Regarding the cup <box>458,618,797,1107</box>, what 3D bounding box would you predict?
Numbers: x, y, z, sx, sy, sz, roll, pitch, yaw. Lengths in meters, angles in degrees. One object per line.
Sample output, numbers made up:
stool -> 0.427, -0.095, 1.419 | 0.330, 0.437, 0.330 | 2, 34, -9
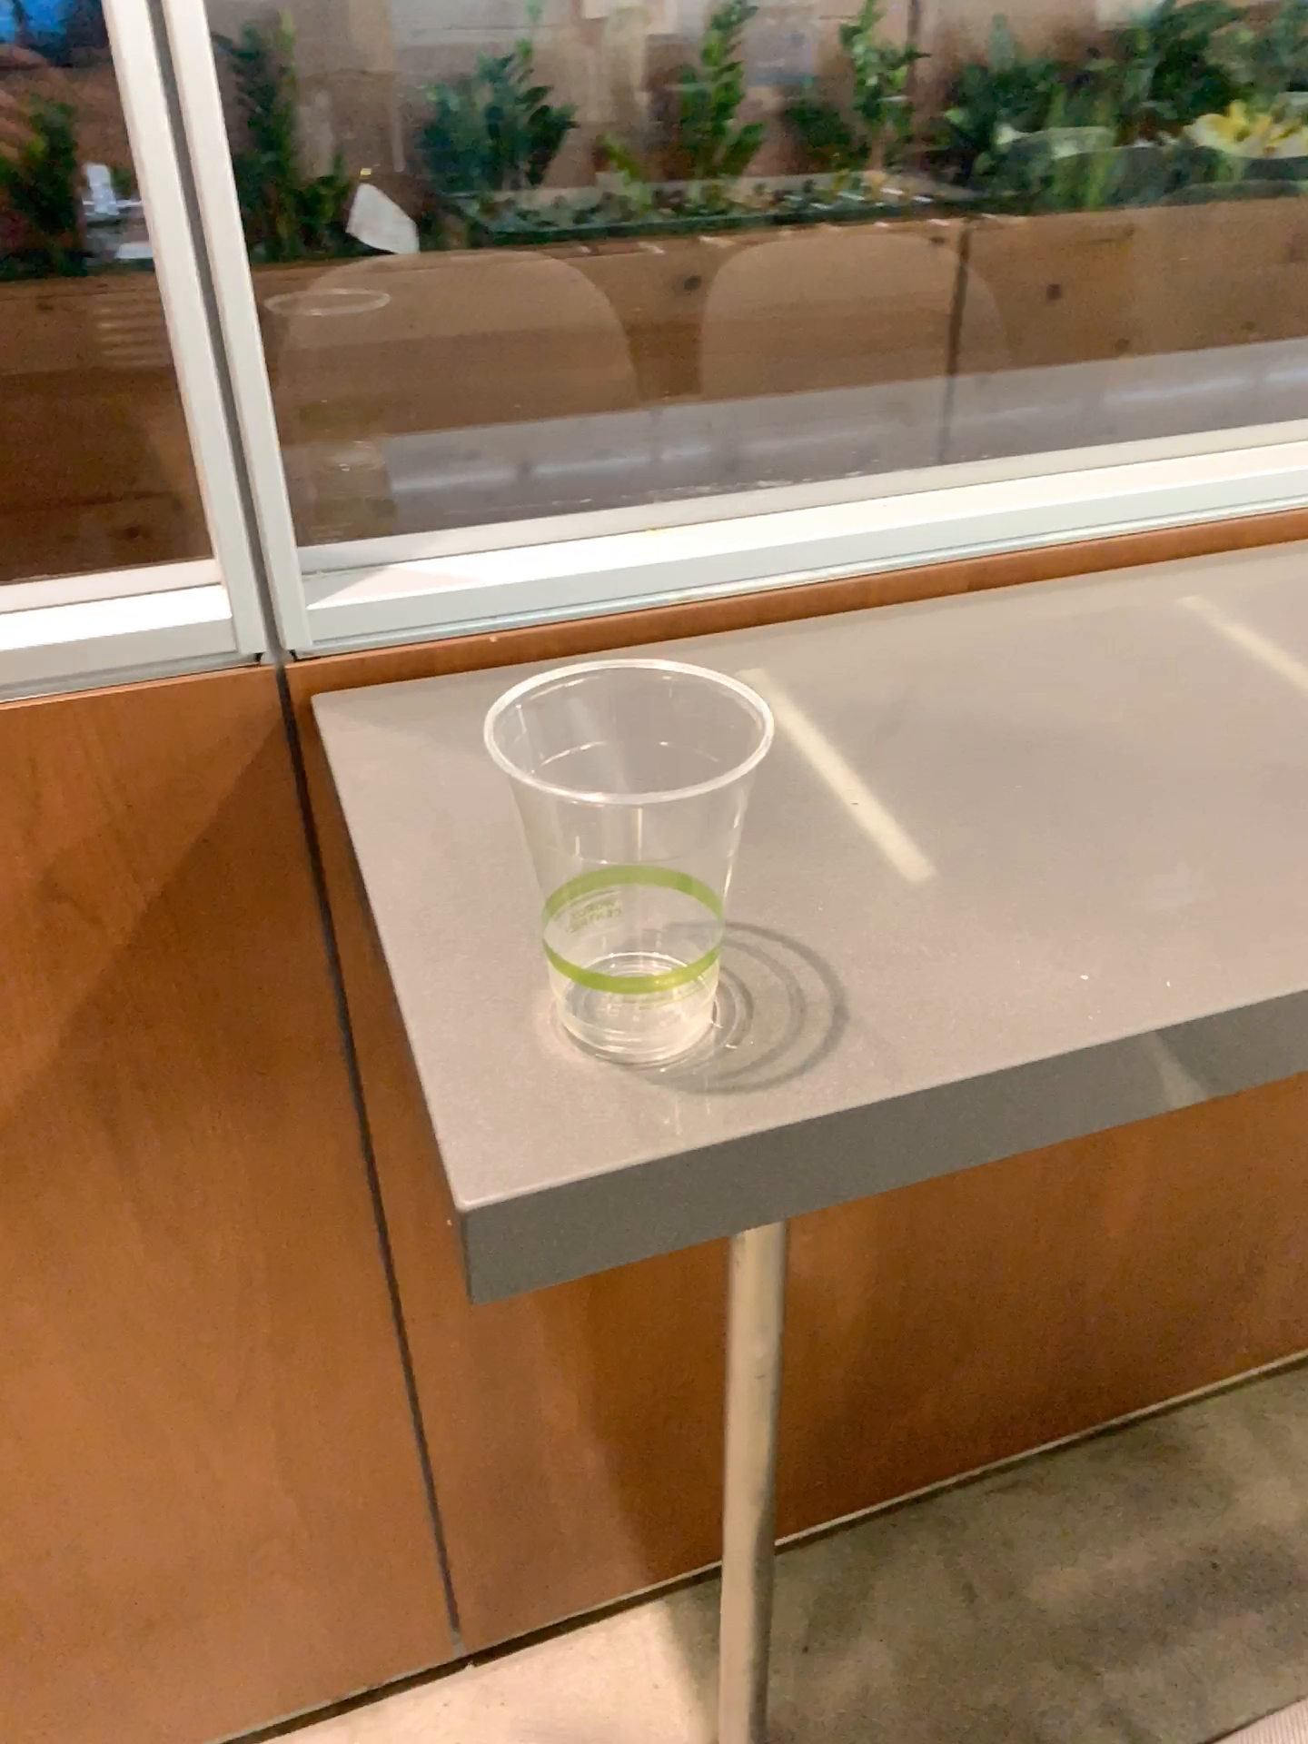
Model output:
cup -> -0.011, -0.005, 0.465 | 0.090, 0.129, 0.091 | -1, 33, 0
